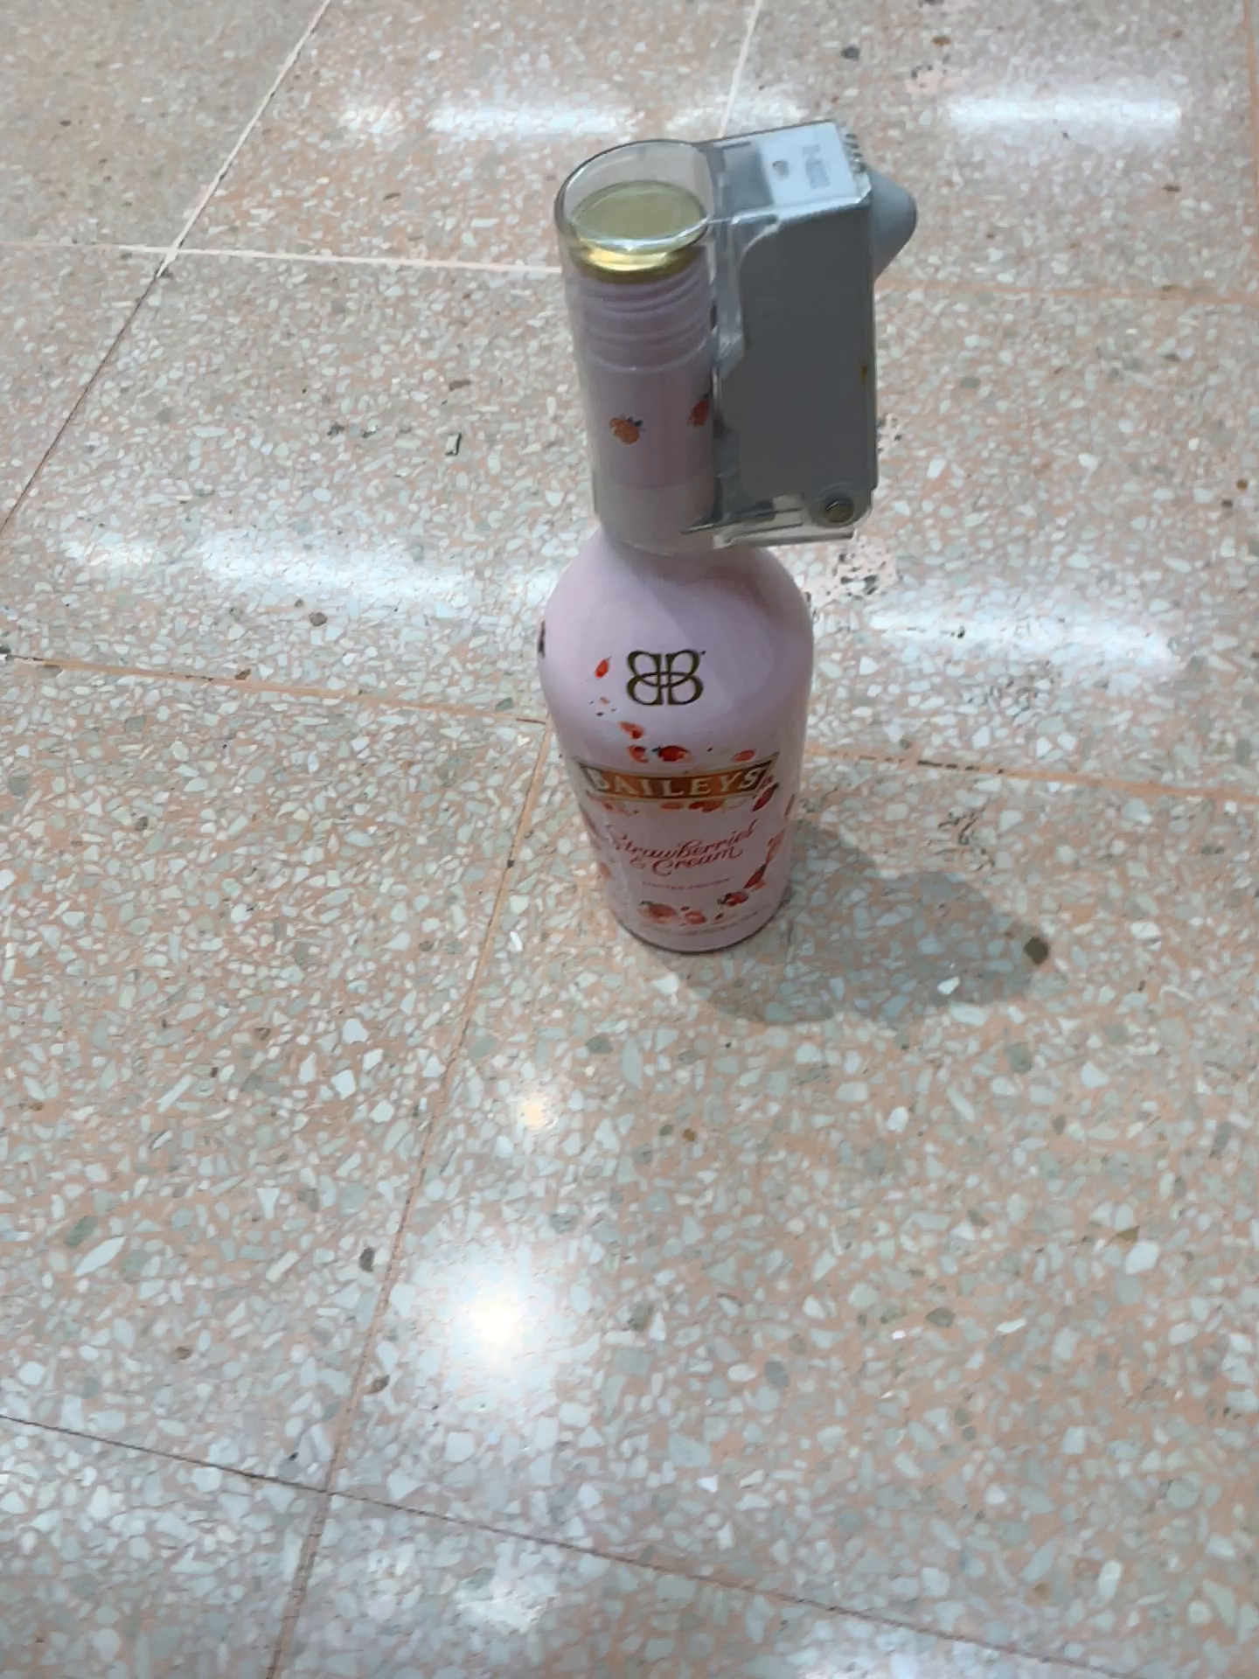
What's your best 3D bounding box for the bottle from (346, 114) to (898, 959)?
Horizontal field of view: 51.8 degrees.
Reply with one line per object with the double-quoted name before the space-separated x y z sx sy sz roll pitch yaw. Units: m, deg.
"bottle" 0.012 -0.056 0.368 0.103 0.254 0.073 1 59 7
